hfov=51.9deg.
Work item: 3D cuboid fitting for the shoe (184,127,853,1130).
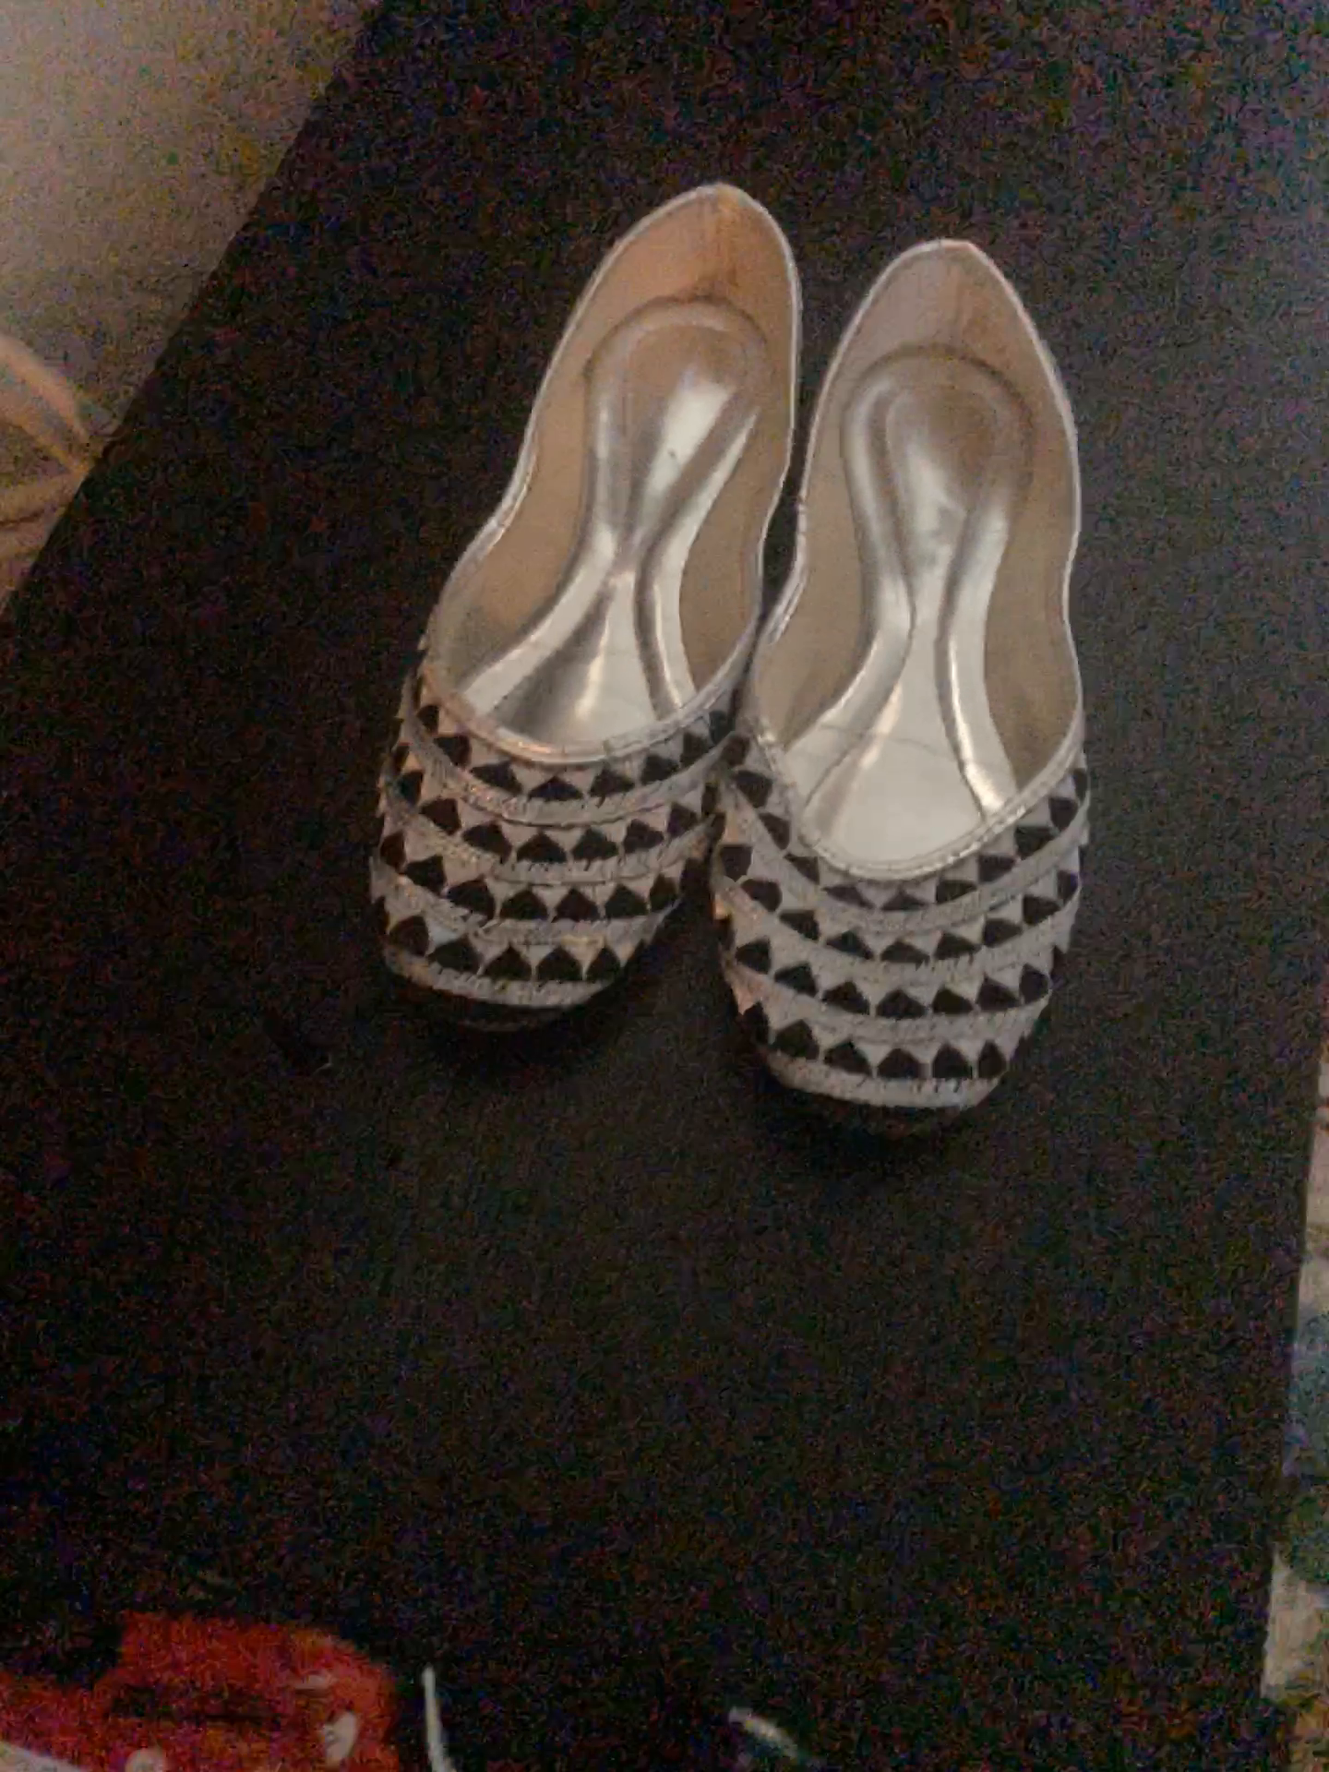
[{"bbox_3d":[-0.025,-0.082,0.386,0.100,0.080,0.271,12,65,6],"label":"shoe"}]

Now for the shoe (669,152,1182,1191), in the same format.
[{"bbox_3d":[0.069,-0.065,0.359,0.100,0.080,0.261,8,65,4],"label":"shoe"}]
